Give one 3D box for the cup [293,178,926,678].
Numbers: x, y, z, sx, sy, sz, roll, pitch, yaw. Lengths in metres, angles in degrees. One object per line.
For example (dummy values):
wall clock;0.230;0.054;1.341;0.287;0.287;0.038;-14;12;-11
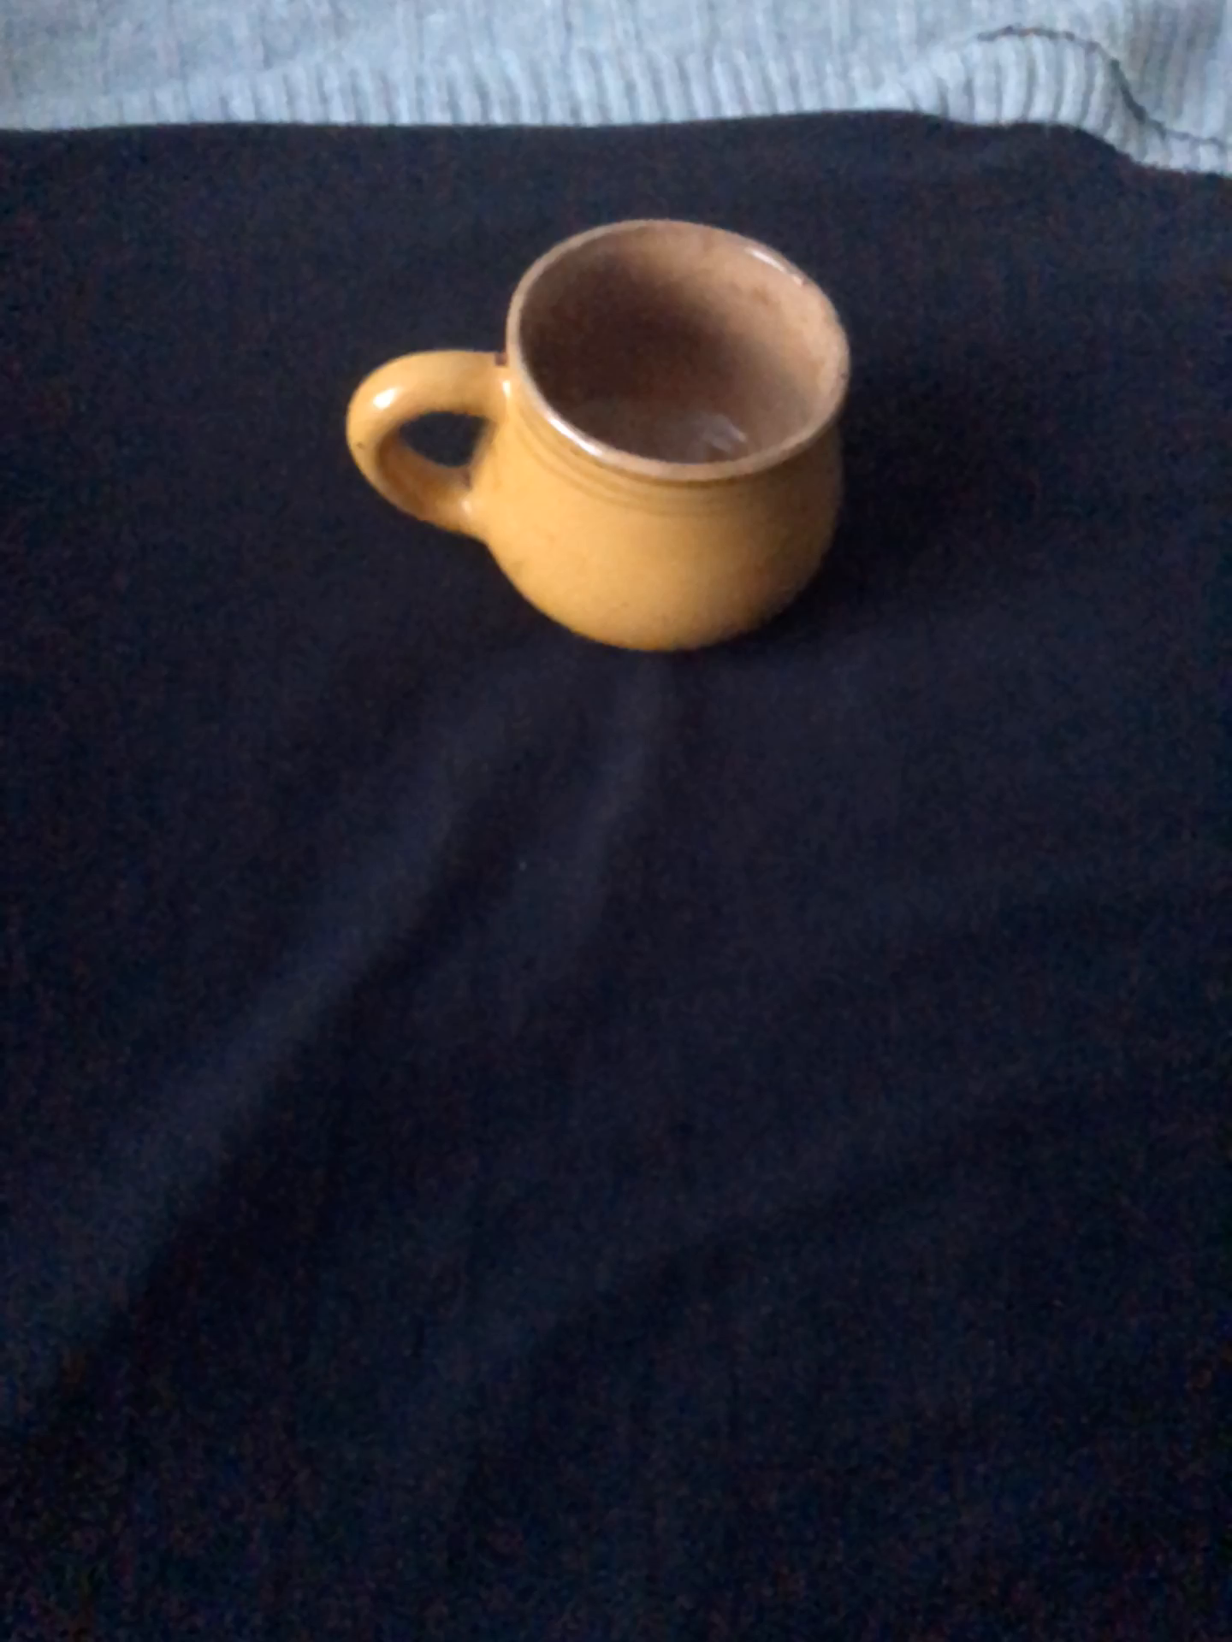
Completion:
cup;-0.004;-0.084;0.304;0.119;0.058;0.082;2;61;-6
